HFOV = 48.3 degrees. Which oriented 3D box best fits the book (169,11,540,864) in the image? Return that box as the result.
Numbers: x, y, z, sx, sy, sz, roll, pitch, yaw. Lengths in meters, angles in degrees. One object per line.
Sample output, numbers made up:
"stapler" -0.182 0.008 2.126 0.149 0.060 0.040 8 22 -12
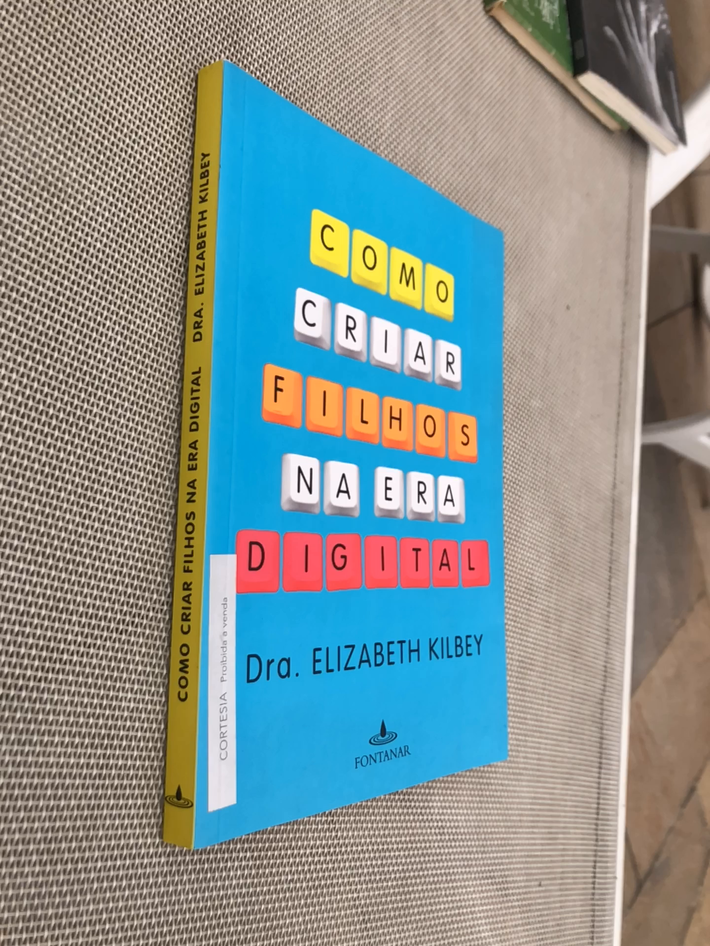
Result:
"book" 0.013 -0.009 0.277 0.164 0.020 0.228 9 79 -48
